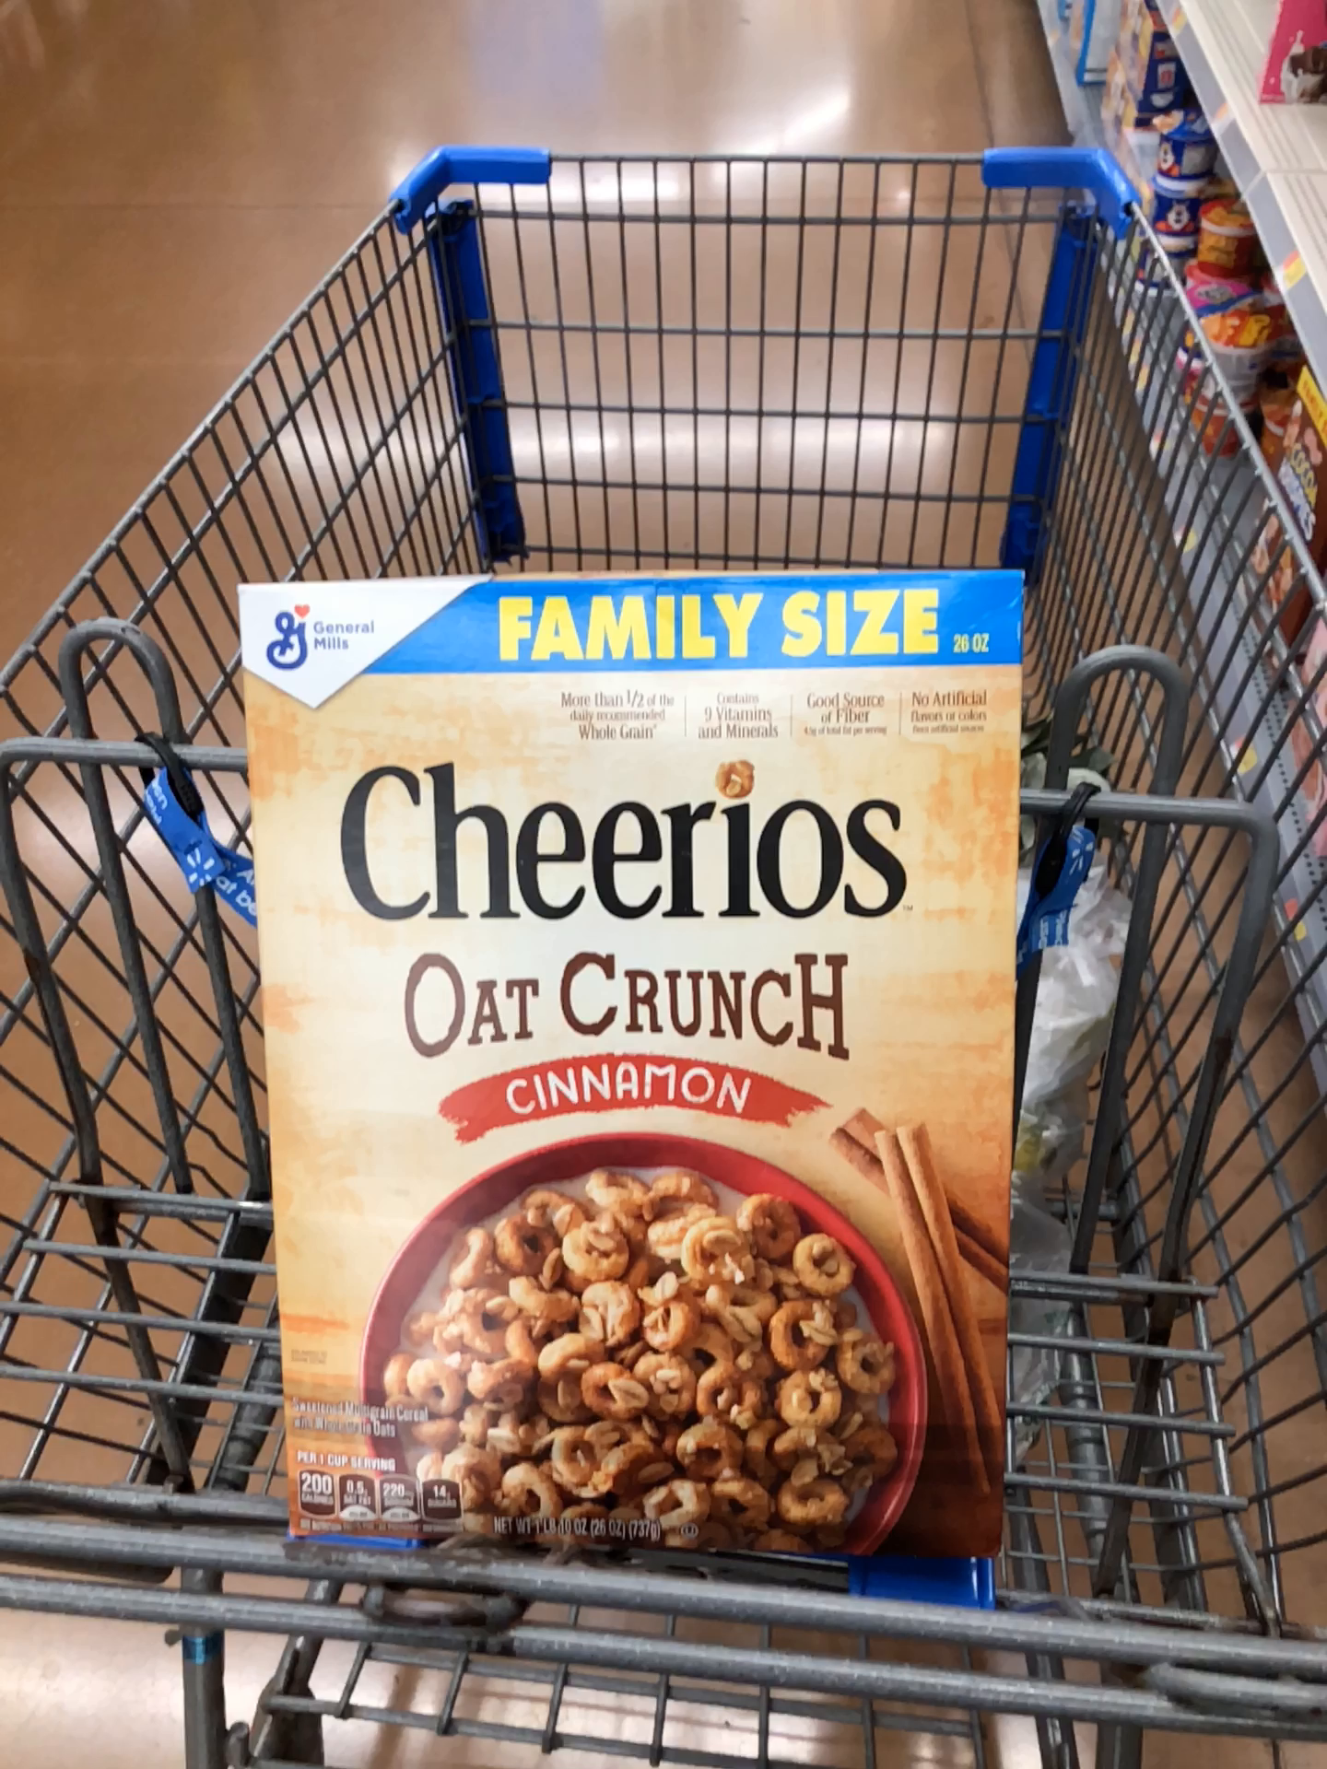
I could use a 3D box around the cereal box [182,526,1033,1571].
[{"bbox_3d":[-0.015,0.052,0.494,0.250,0.330,0.080,0,9,3],"label":"cereal box"}]
